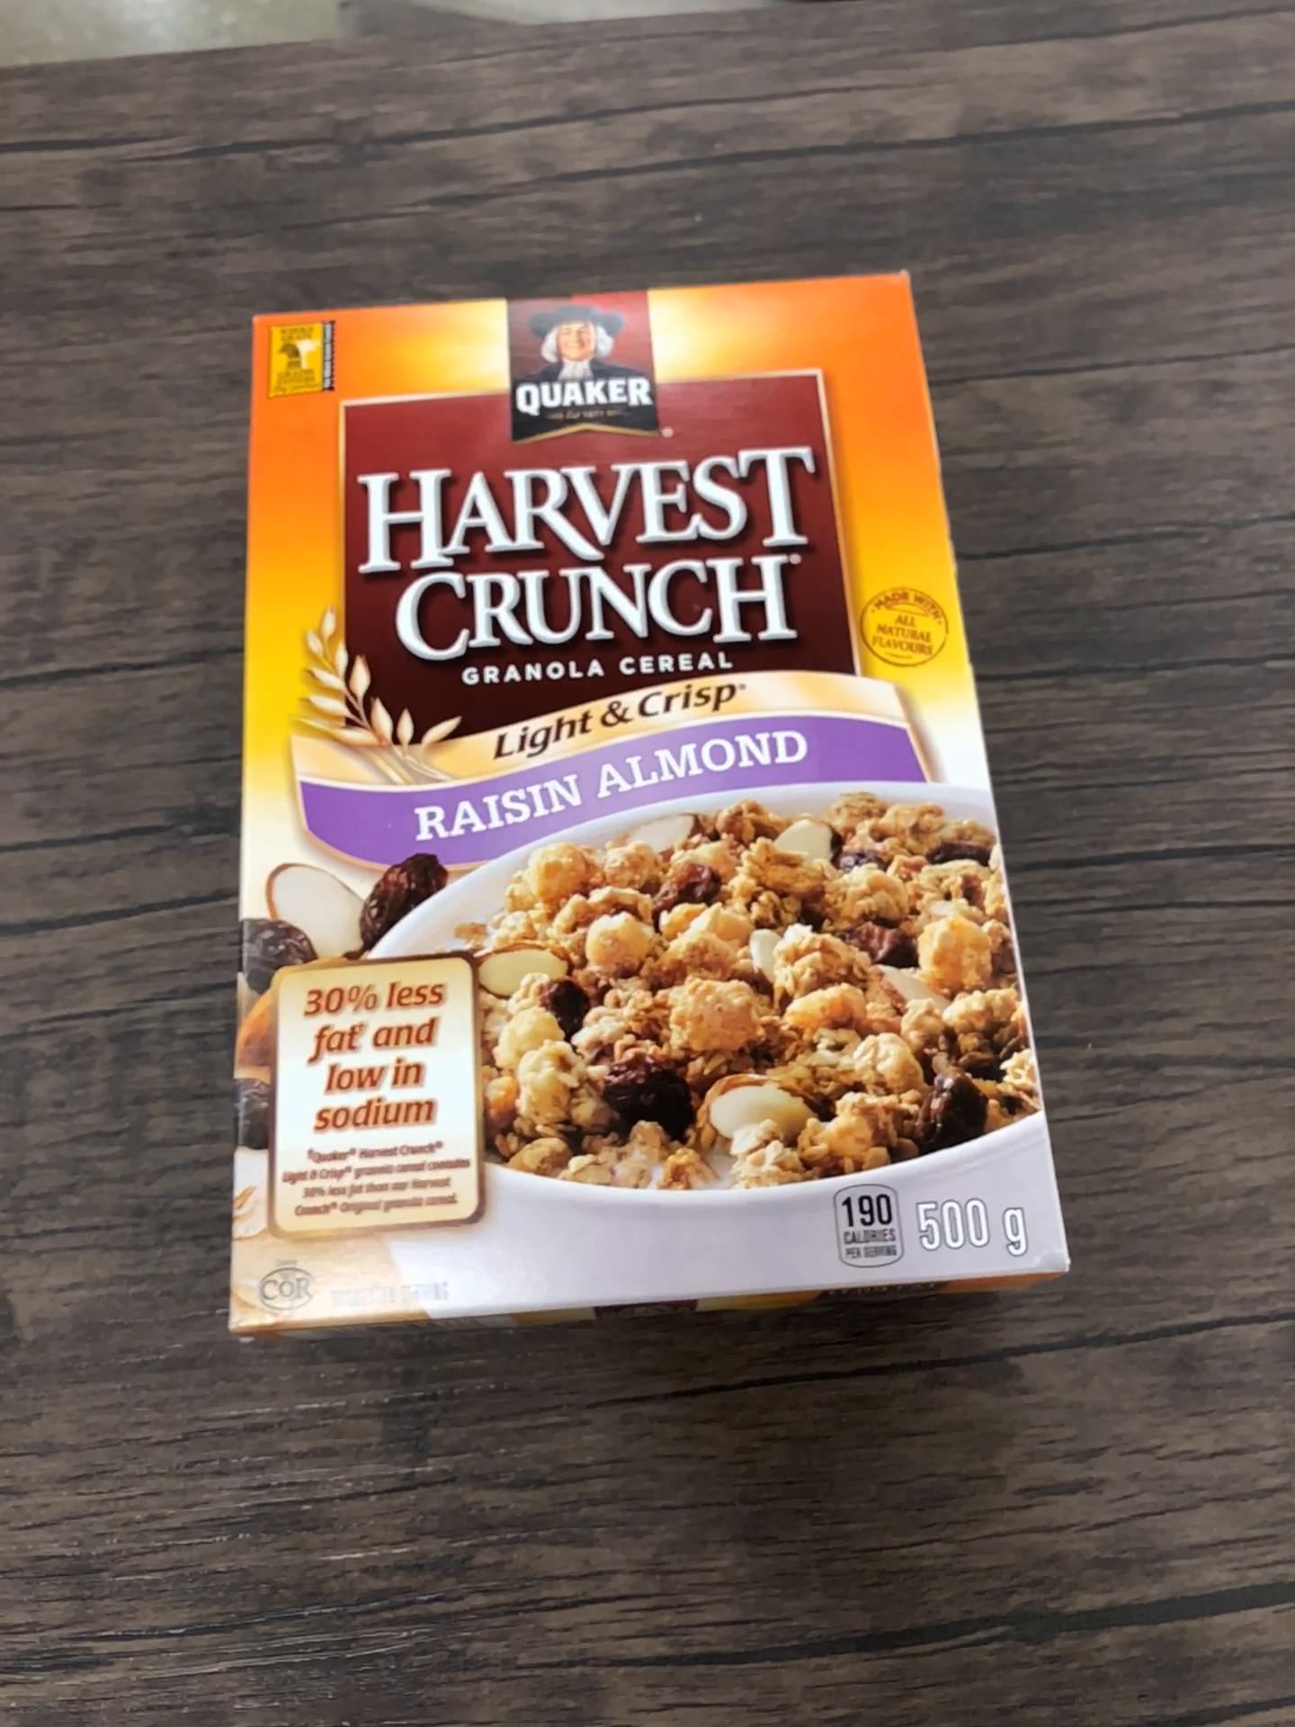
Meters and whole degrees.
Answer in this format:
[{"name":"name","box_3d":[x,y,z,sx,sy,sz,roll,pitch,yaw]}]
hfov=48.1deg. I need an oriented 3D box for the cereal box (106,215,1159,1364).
[{"name":"cereal box","box_3d":[-0.009,-0.022,0.308,0.180,0.050,0.230,-4,71,-1]}]
